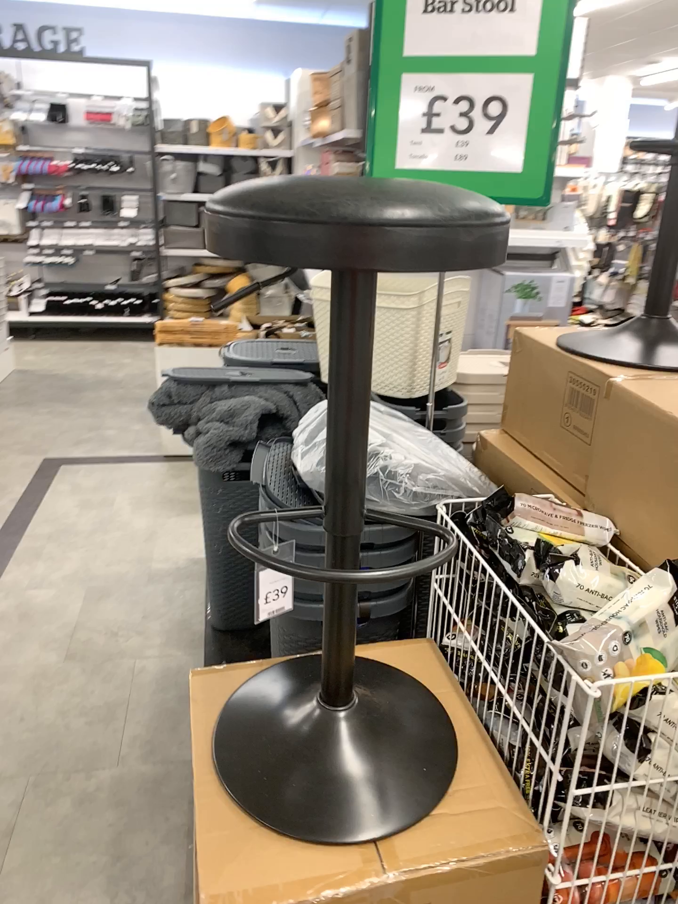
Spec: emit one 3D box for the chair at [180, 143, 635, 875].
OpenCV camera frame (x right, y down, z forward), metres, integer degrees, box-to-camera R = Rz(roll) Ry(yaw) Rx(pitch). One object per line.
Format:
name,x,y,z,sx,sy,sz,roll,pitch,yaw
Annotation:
chair,0.017,0.050,0.905,0.396,0.795,0.410,-1,21,-10
